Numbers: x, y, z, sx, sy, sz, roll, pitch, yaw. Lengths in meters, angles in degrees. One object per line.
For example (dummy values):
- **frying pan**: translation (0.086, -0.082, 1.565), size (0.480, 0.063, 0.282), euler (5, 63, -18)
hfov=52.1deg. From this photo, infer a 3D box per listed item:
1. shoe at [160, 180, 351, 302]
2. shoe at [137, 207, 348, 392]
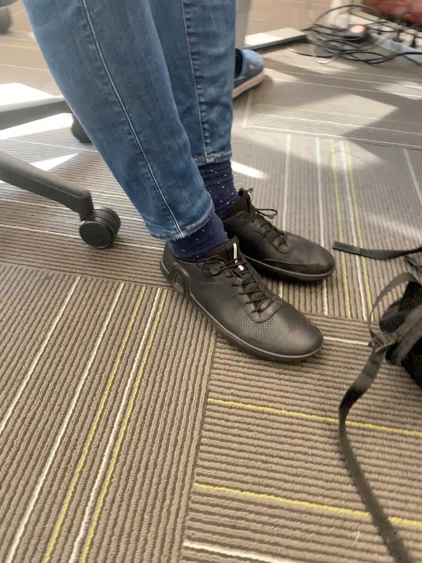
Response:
- **shoe**: translation (0.075, -0.077, 0.775), size (0.310, 0.099, 0.110), euler (15, 46, 10)
- **shoe**: translation (0.034, 0.015, 0.671), size (0.311, 0.099, 0.110), euler (34, 52, 25)
